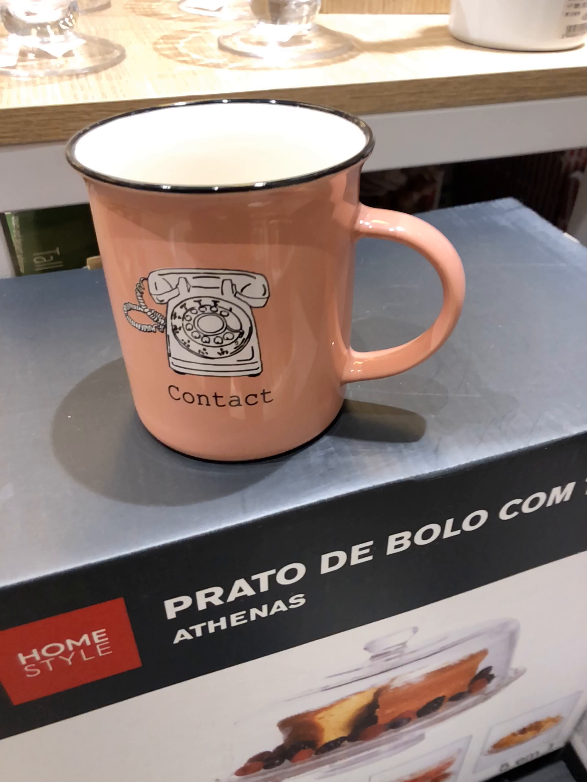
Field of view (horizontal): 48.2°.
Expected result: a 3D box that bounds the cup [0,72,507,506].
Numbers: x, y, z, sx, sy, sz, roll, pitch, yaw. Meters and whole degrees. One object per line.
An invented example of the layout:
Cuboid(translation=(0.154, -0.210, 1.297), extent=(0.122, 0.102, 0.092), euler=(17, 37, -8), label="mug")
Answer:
Cuboid(translation=(-0.009, -0.032, 0.190), extent=(0.110, 0.089, 0.081), euler=(4, 39, 5), label="cup")
